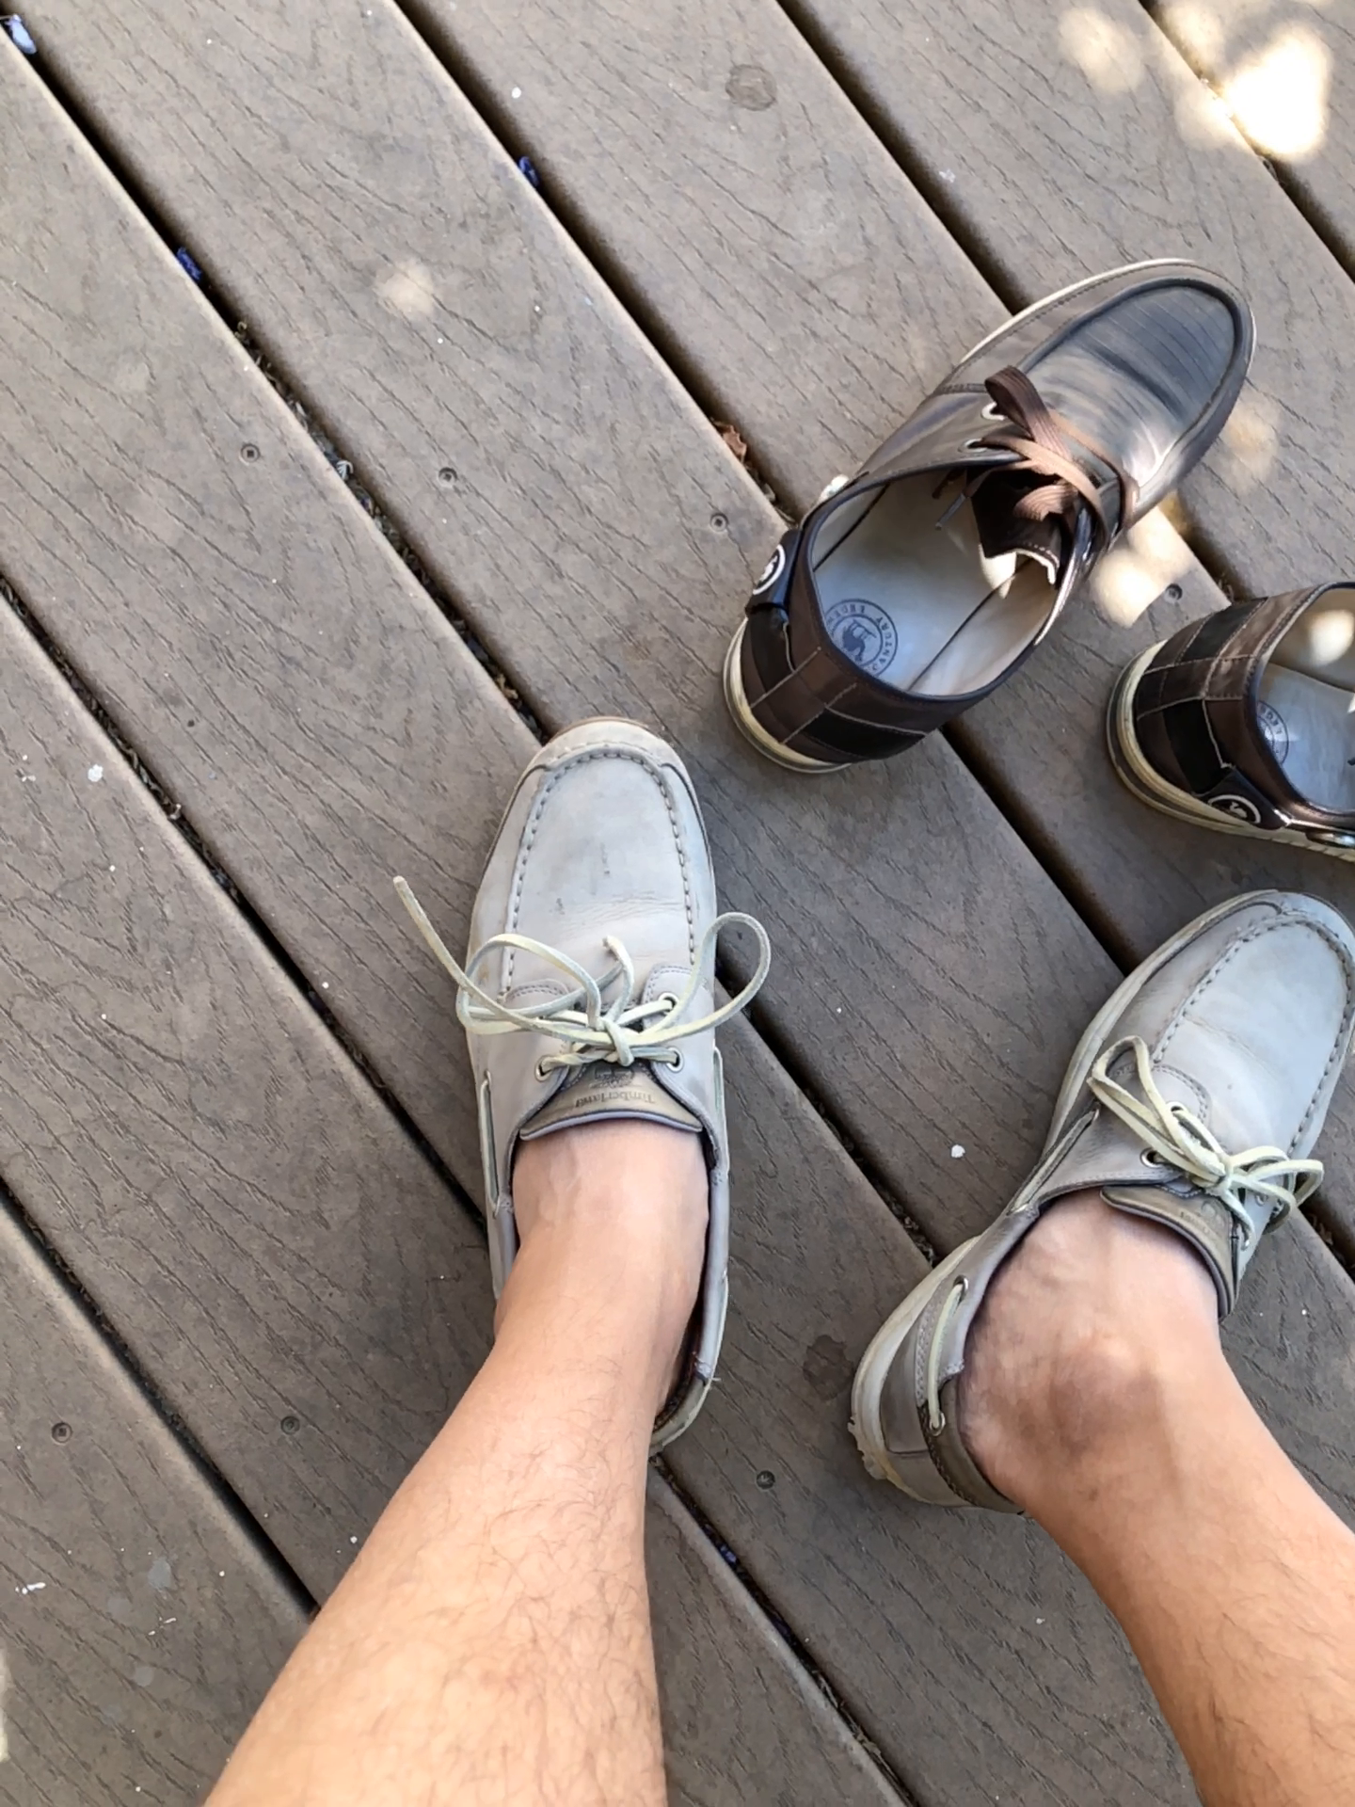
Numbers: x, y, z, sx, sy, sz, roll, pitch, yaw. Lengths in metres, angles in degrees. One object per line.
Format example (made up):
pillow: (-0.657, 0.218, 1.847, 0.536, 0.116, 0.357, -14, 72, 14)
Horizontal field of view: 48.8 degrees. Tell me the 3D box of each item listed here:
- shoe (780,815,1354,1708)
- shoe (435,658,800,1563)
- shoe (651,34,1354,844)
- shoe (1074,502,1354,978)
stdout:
shoe: (0.181, 0.126, 0.583, 0.110, 0.111, 0.303, 37, 83, -1)
shoe: (-0.026, 0.071, 0.570, 0.110, 0.111, 0.303, -3, 86, -5)
shoe: (0.139, -0.175, 0.597, 0.110, 0.111, 0.303, 45, 83, -1)
shoe: (0.334, -0.056, 0.604, 0.303, 0.111, 0.110, 12, 85, -4)
